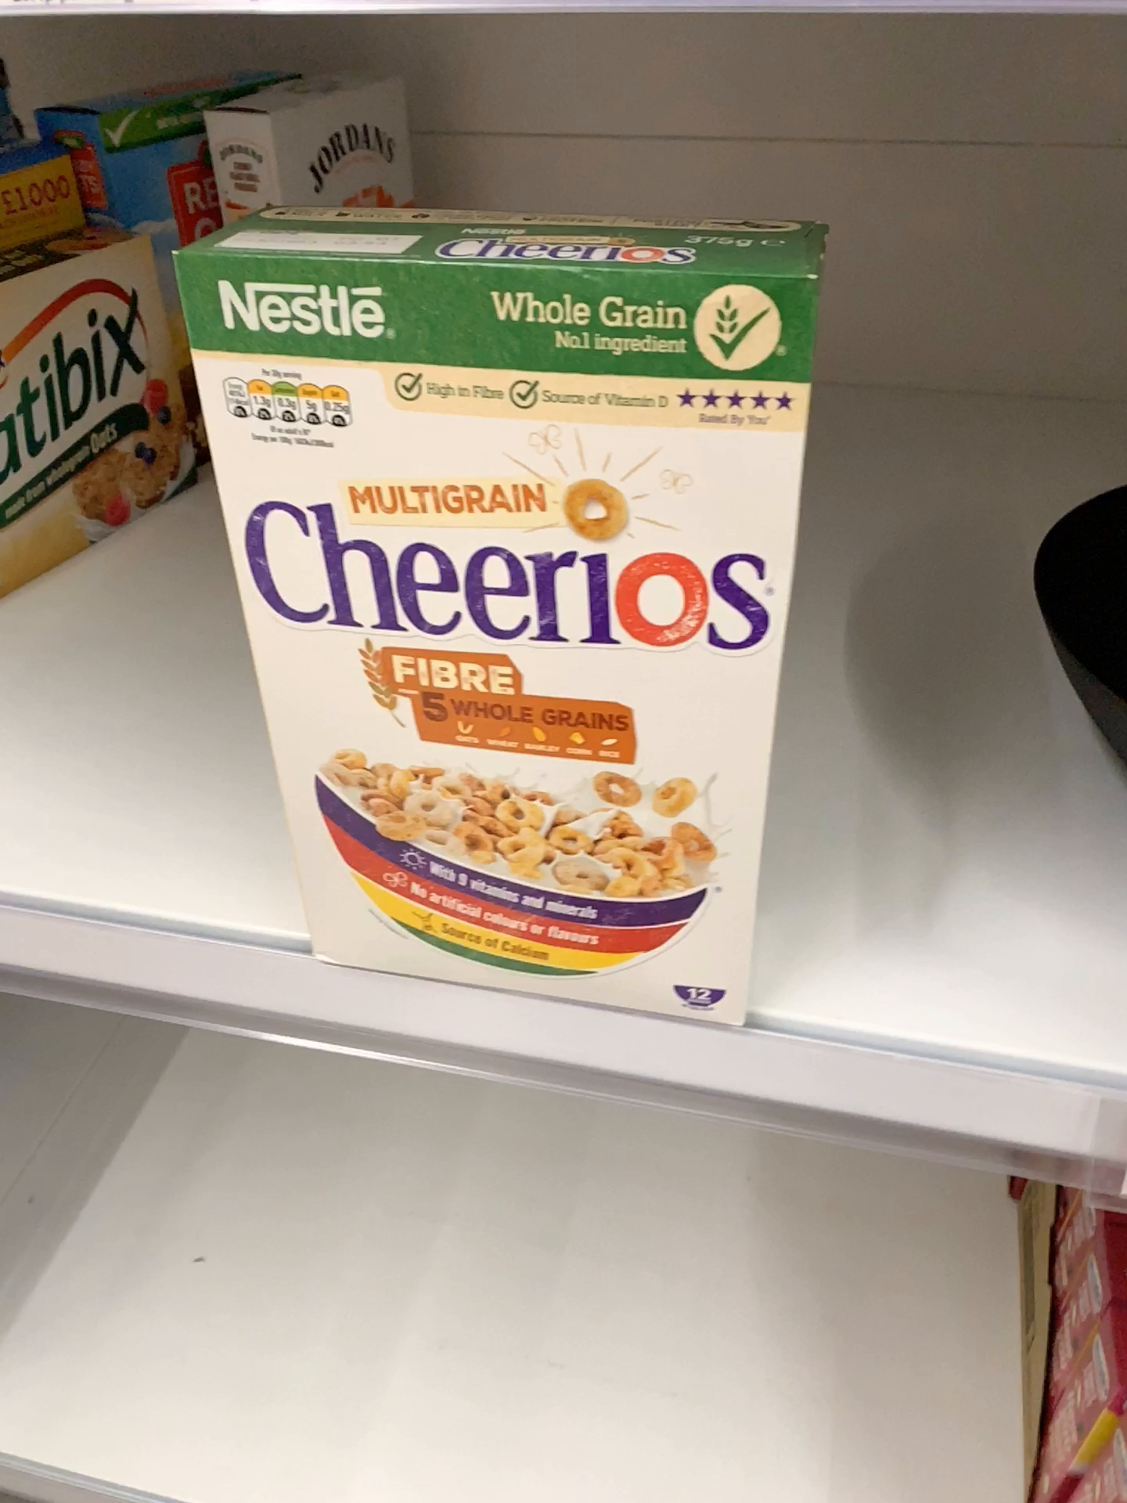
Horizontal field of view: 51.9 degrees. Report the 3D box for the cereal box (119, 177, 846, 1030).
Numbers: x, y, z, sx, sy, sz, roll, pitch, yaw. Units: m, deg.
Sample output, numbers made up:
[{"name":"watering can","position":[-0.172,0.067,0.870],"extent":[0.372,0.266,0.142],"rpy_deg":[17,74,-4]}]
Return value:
[{"name":"cereal box","position":[-0.018,-0.041,0.417],"extent":[0.200,0.287,0.071],"rpy_deg":[6,35,10]}]
